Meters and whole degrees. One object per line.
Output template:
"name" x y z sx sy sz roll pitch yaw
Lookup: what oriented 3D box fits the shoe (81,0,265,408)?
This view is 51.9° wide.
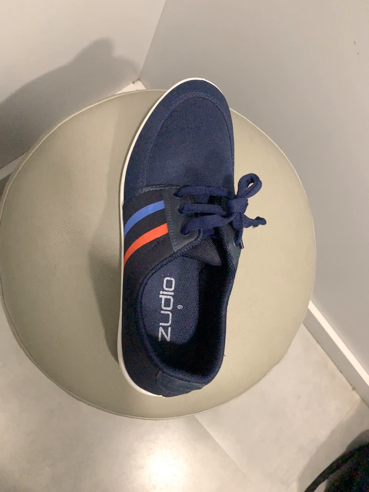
"shoe" -0.013 -0.030 0.323 0.100 0.100 0.290 9 82 -16
